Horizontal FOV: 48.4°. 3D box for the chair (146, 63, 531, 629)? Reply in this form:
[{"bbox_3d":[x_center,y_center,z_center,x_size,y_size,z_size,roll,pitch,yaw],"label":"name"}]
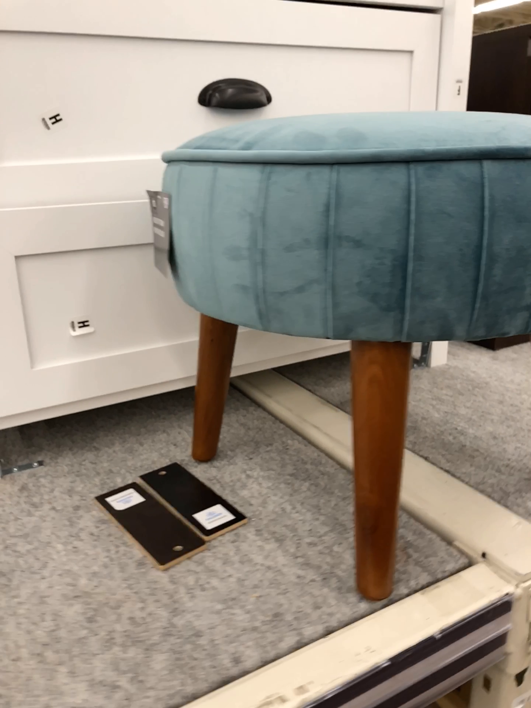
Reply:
[{"bbox_3d":[0.127,-0.058,0.637,0.370,0.399,0.371,-11,20,-27],"label":"chair"}]
